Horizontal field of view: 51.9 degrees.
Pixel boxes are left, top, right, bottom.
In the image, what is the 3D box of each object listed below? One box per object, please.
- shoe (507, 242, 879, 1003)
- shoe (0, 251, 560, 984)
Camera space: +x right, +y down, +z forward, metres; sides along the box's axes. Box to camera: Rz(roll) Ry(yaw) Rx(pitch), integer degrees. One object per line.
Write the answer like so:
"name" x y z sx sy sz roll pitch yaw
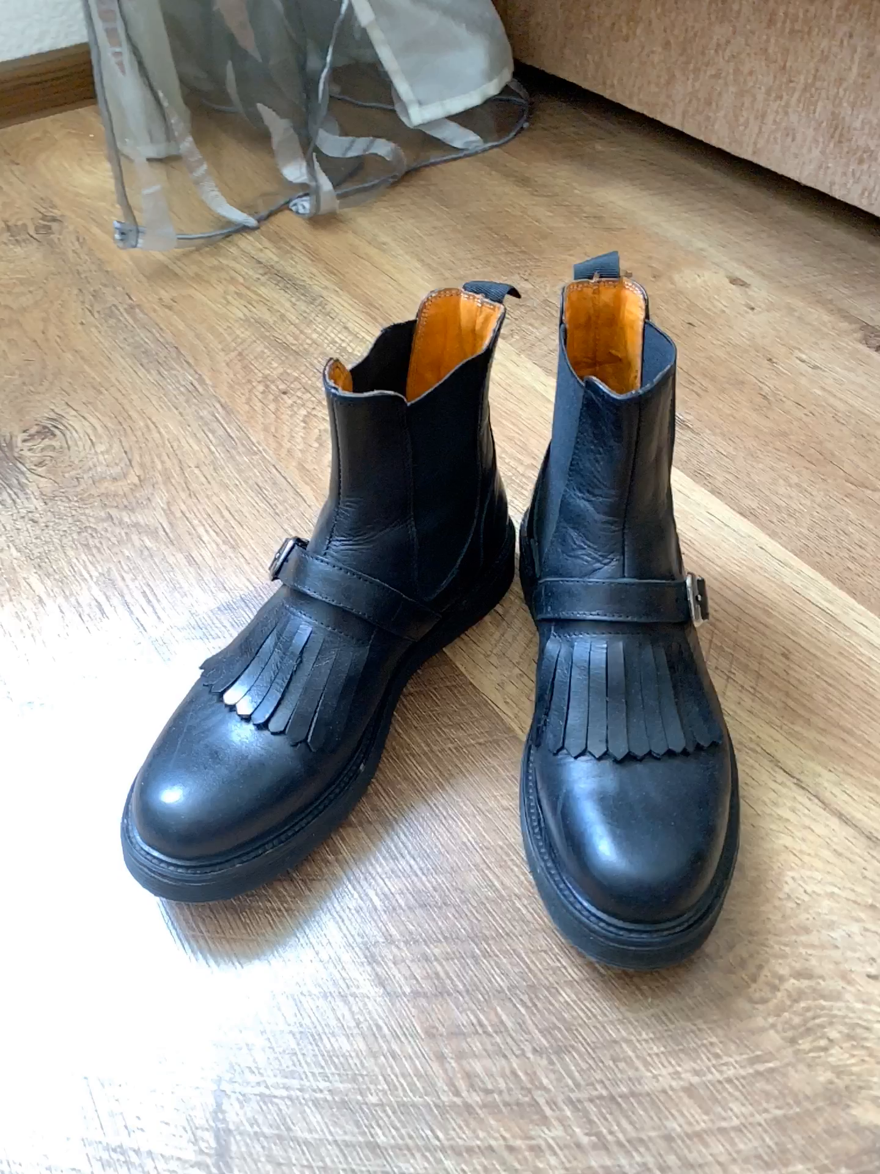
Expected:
"shoe" 0.080 0.000 0.355 0.100 0.149 0.261 0 48 3
"shoe" -0.052 -0.001 0.376 0.089 0.151 0.261 23 53 22
